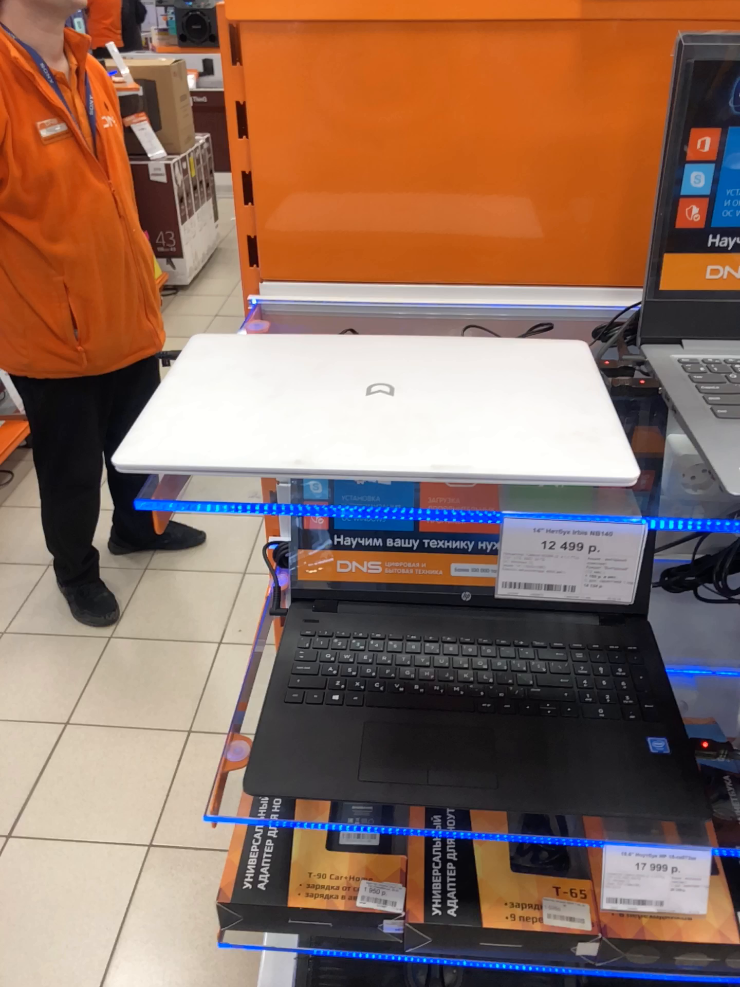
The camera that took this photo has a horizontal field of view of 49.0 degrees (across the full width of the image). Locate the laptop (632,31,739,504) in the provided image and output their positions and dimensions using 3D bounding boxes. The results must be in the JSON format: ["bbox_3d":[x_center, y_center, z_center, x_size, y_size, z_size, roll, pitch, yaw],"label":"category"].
[{"bbox_3d":[0.388,-0.164,0.526,0.344,0.224,0.280,0,32,2],"label":"laptop"}]

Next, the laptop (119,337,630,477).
[{"bbox_3d":[0.007,-0.071,0.585,0.312,0.002,0.213,2,32,3],"label":"laptop"}]

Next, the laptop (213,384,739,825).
[{"bbox_3d":[0.088,0.074,0.724,0.364,0.228,0.307,2,31,6],"label":"laptop"}]
